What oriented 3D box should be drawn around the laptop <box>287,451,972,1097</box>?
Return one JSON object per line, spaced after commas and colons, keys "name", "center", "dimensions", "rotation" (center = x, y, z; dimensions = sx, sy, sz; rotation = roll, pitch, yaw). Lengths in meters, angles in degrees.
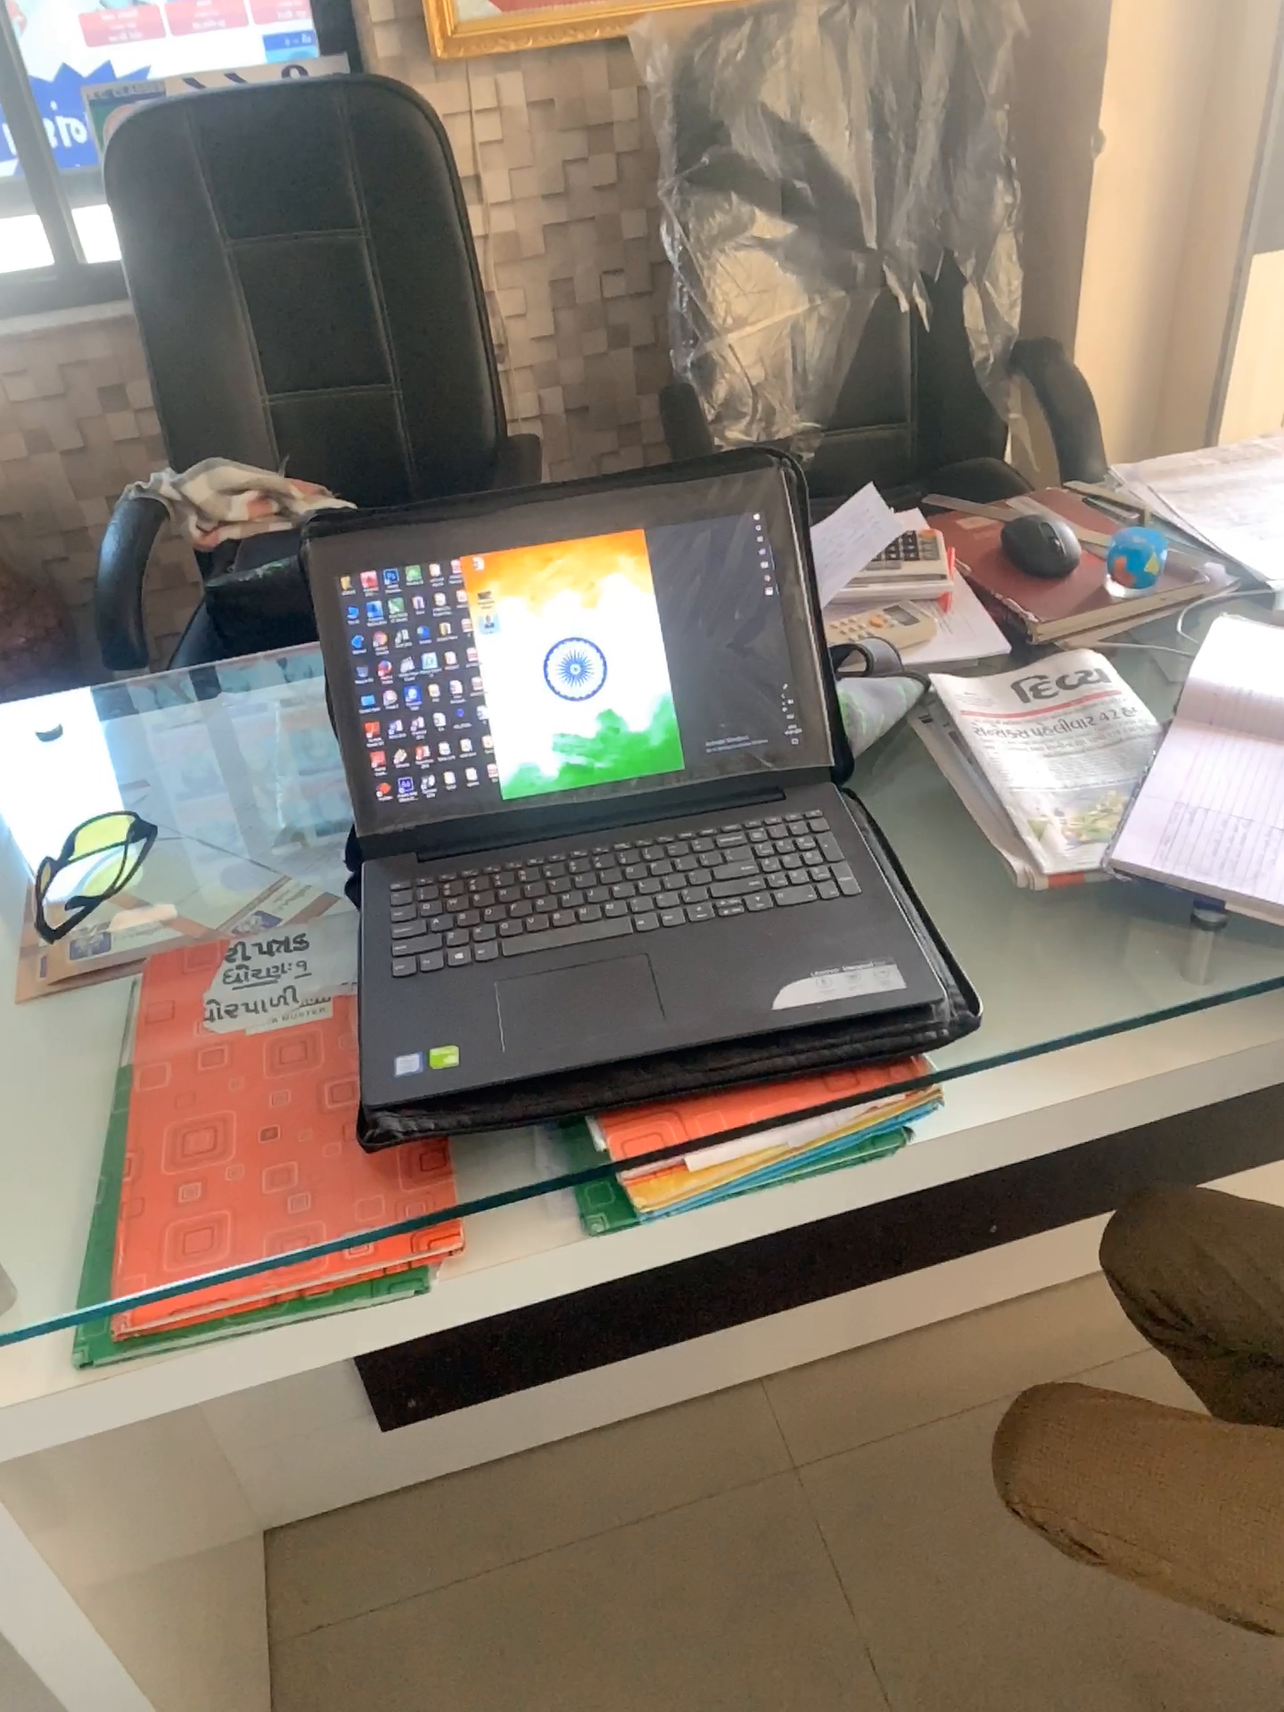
{"name": "laptop", "center": [-0.028, -0.080, 0.837], "dimensions": [0.334, 0.175, 0.392], "rotation": [-9, 38, -4]}
